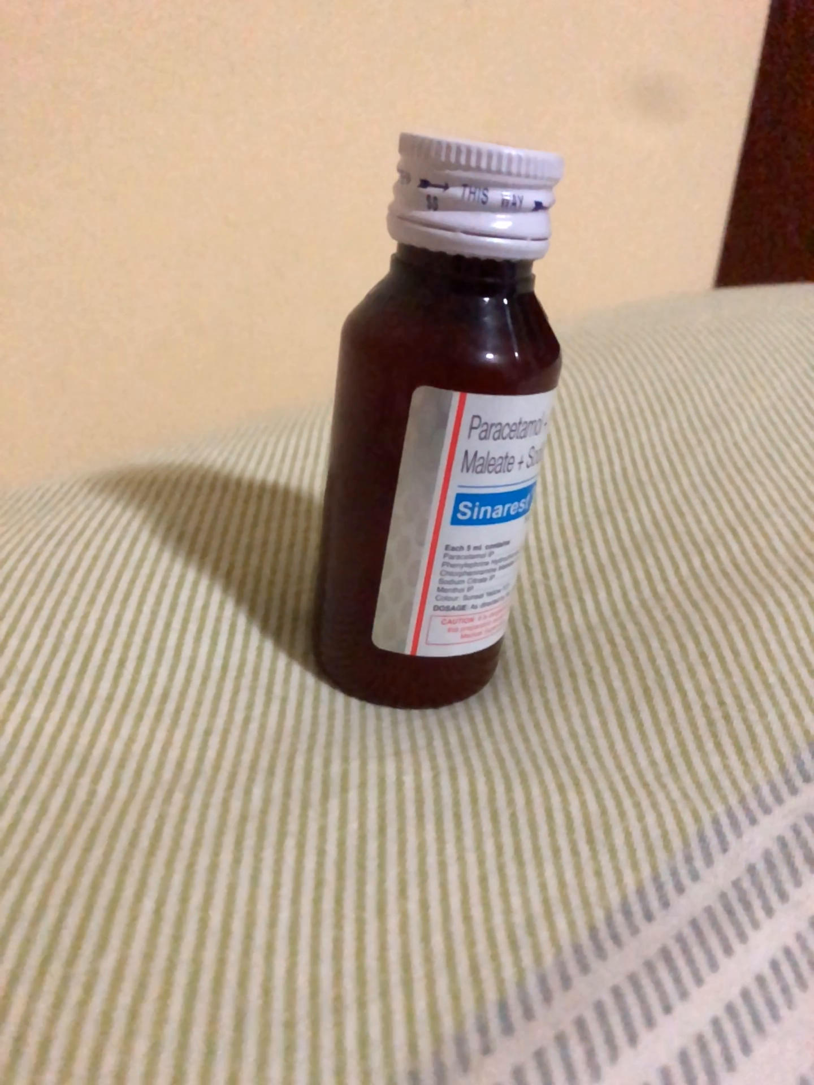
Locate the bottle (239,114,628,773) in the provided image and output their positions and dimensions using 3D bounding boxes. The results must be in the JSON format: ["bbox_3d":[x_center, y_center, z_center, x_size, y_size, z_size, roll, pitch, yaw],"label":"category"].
[{"bbox_3d":[0.000,-0.016,0.160,0.040,0.100,0.037,6,28,-3],"label":"bottle"}]
